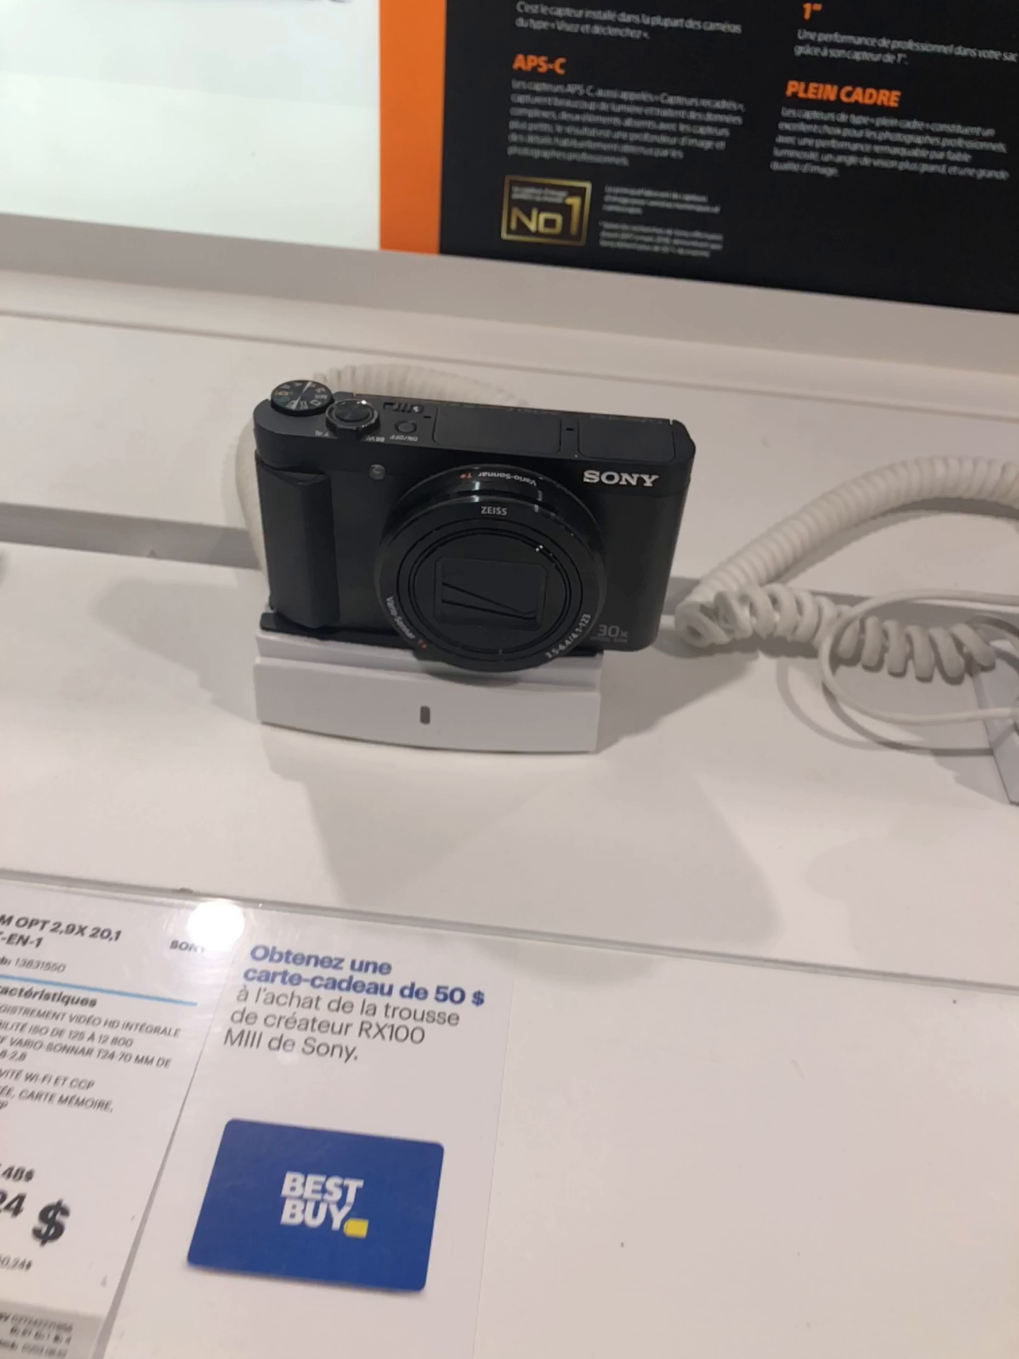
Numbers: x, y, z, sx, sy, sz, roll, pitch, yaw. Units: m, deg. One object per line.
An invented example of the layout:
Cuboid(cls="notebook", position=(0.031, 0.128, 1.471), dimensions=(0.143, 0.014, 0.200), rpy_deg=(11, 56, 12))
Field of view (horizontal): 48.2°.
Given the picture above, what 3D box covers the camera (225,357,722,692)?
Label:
Cuboid(cls="camera", position=(-0.009, -0.037, 0.285), dimensions=(0.110, 0.069, 0.030), rpy_deg=(5, 41, 0))
